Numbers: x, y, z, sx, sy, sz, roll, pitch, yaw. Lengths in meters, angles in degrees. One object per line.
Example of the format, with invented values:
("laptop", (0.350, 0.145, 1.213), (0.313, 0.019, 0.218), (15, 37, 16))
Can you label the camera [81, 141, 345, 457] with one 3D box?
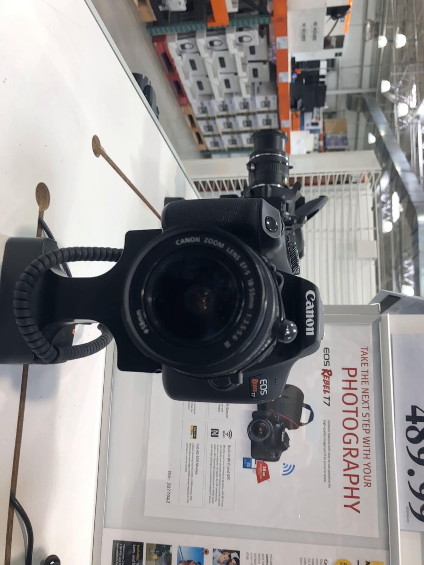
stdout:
("camera", (0.013, 0.014, 0.275), (0.150, 0.110, 0.130), (38, 52, -78))
